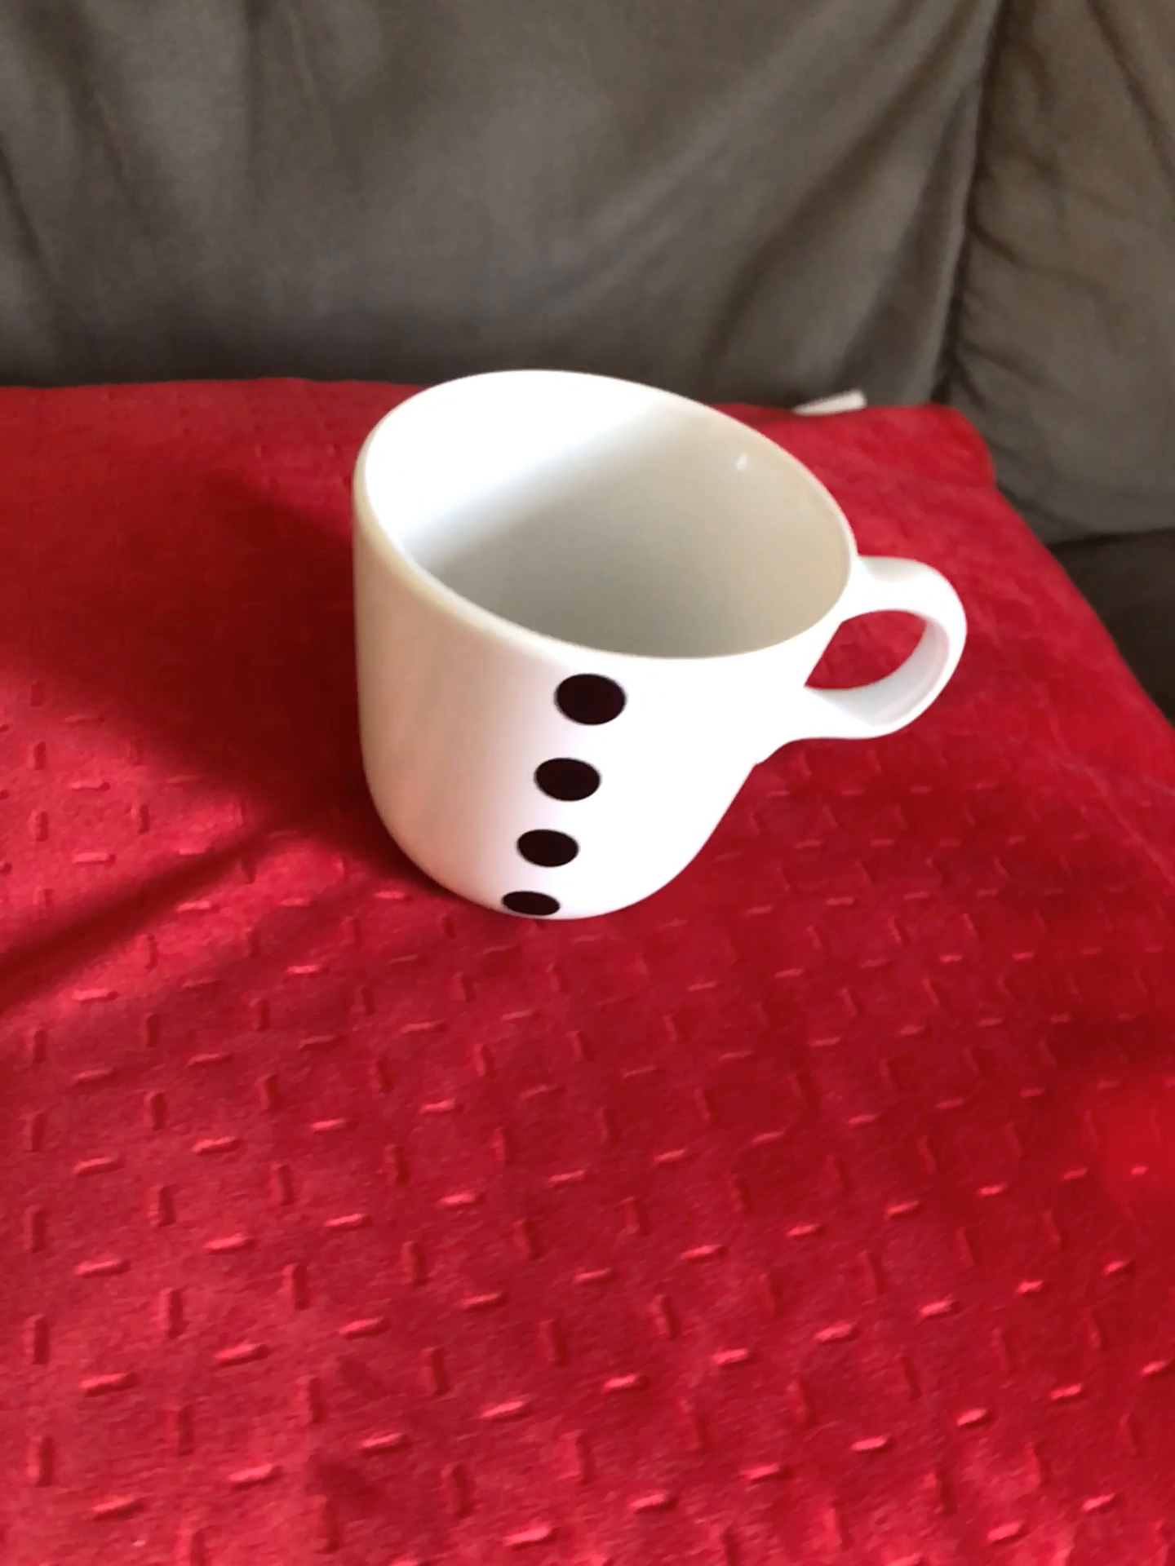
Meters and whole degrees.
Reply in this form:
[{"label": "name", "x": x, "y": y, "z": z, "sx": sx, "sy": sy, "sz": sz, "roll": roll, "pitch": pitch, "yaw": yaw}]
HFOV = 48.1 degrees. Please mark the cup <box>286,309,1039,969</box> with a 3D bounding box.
[{"label": "cup", "x": 0.004, "y": -0.025, "z": 0.245, "sx": 0.110, "sy": 0.080, "sz": 0.080, "roll": 4, "pitch": 44, "yaw": -10}]
